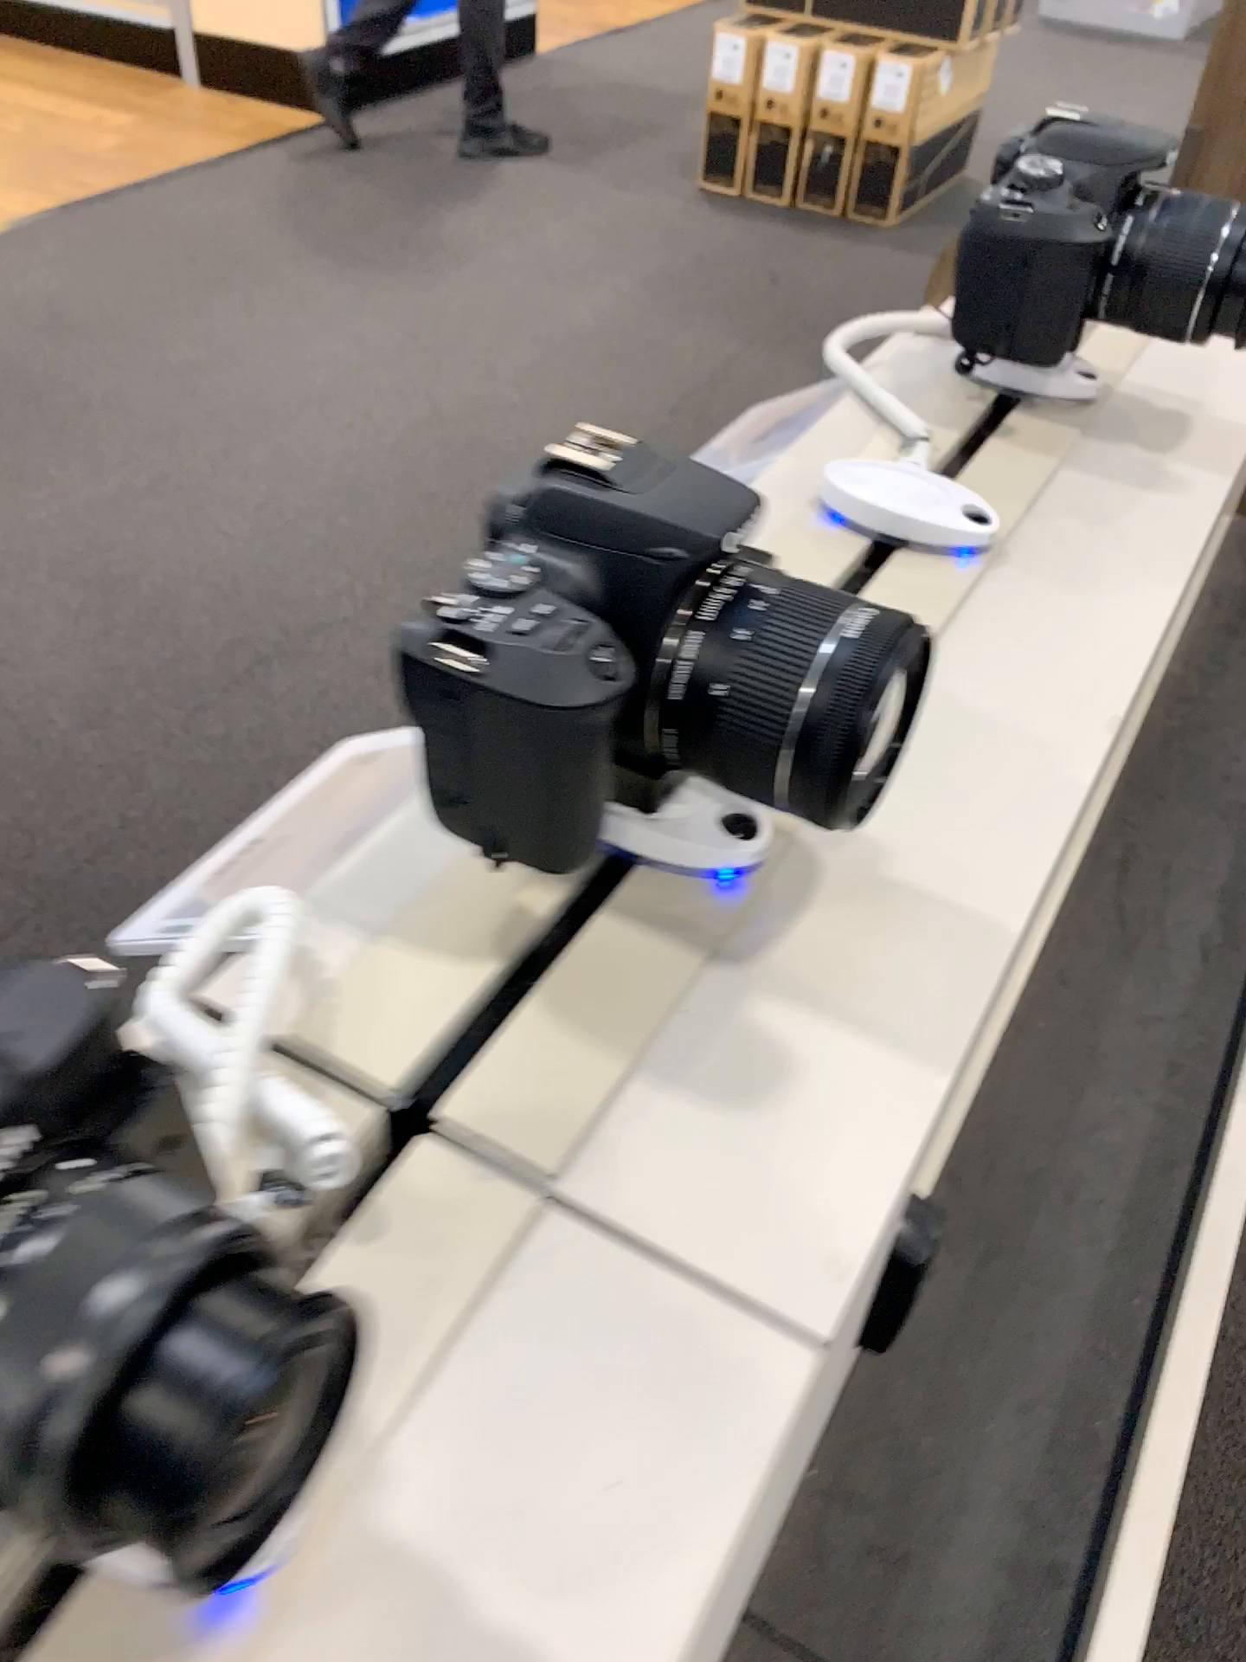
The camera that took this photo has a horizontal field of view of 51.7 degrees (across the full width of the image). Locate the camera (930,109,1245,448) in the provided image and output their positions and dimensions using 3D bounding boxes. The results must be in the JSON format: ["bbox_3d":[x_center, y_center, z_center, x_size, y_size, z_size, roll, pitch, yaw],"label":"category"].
[{"bbox_3d":[0.263,-0.292,0.669,0.146,0.101,0.134,24,46,20],"label":"camera"}]

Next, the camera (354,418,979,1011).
[{"bbox_3d":[0.015,-0.042,0.385,0.135,0.089,0.122,21,45,17],"label":"camera"}]

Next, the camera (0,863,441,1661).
[{"bbox_3d":[-0.112,0.091,0.237,0.111,0.088,0.112,21,45,17],"label":"camera"}]
